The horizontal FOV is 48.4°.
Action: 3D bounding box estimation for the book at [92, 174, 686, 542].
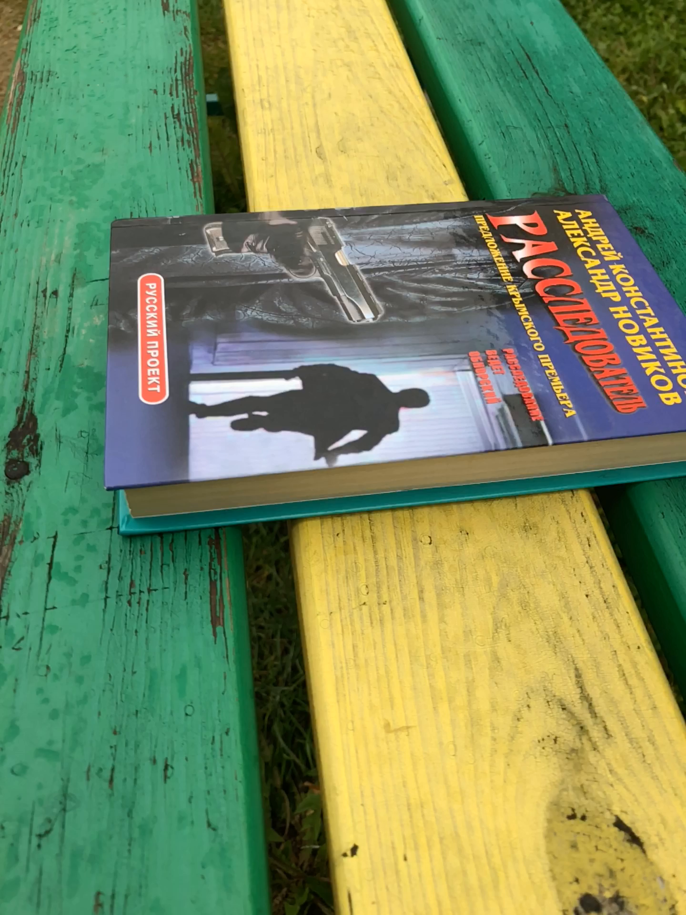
[{"bbox_3d":[0.018,-0.047,0.280,0.201,0.031,0.139,-5,52,-8],"label":"book"}]
